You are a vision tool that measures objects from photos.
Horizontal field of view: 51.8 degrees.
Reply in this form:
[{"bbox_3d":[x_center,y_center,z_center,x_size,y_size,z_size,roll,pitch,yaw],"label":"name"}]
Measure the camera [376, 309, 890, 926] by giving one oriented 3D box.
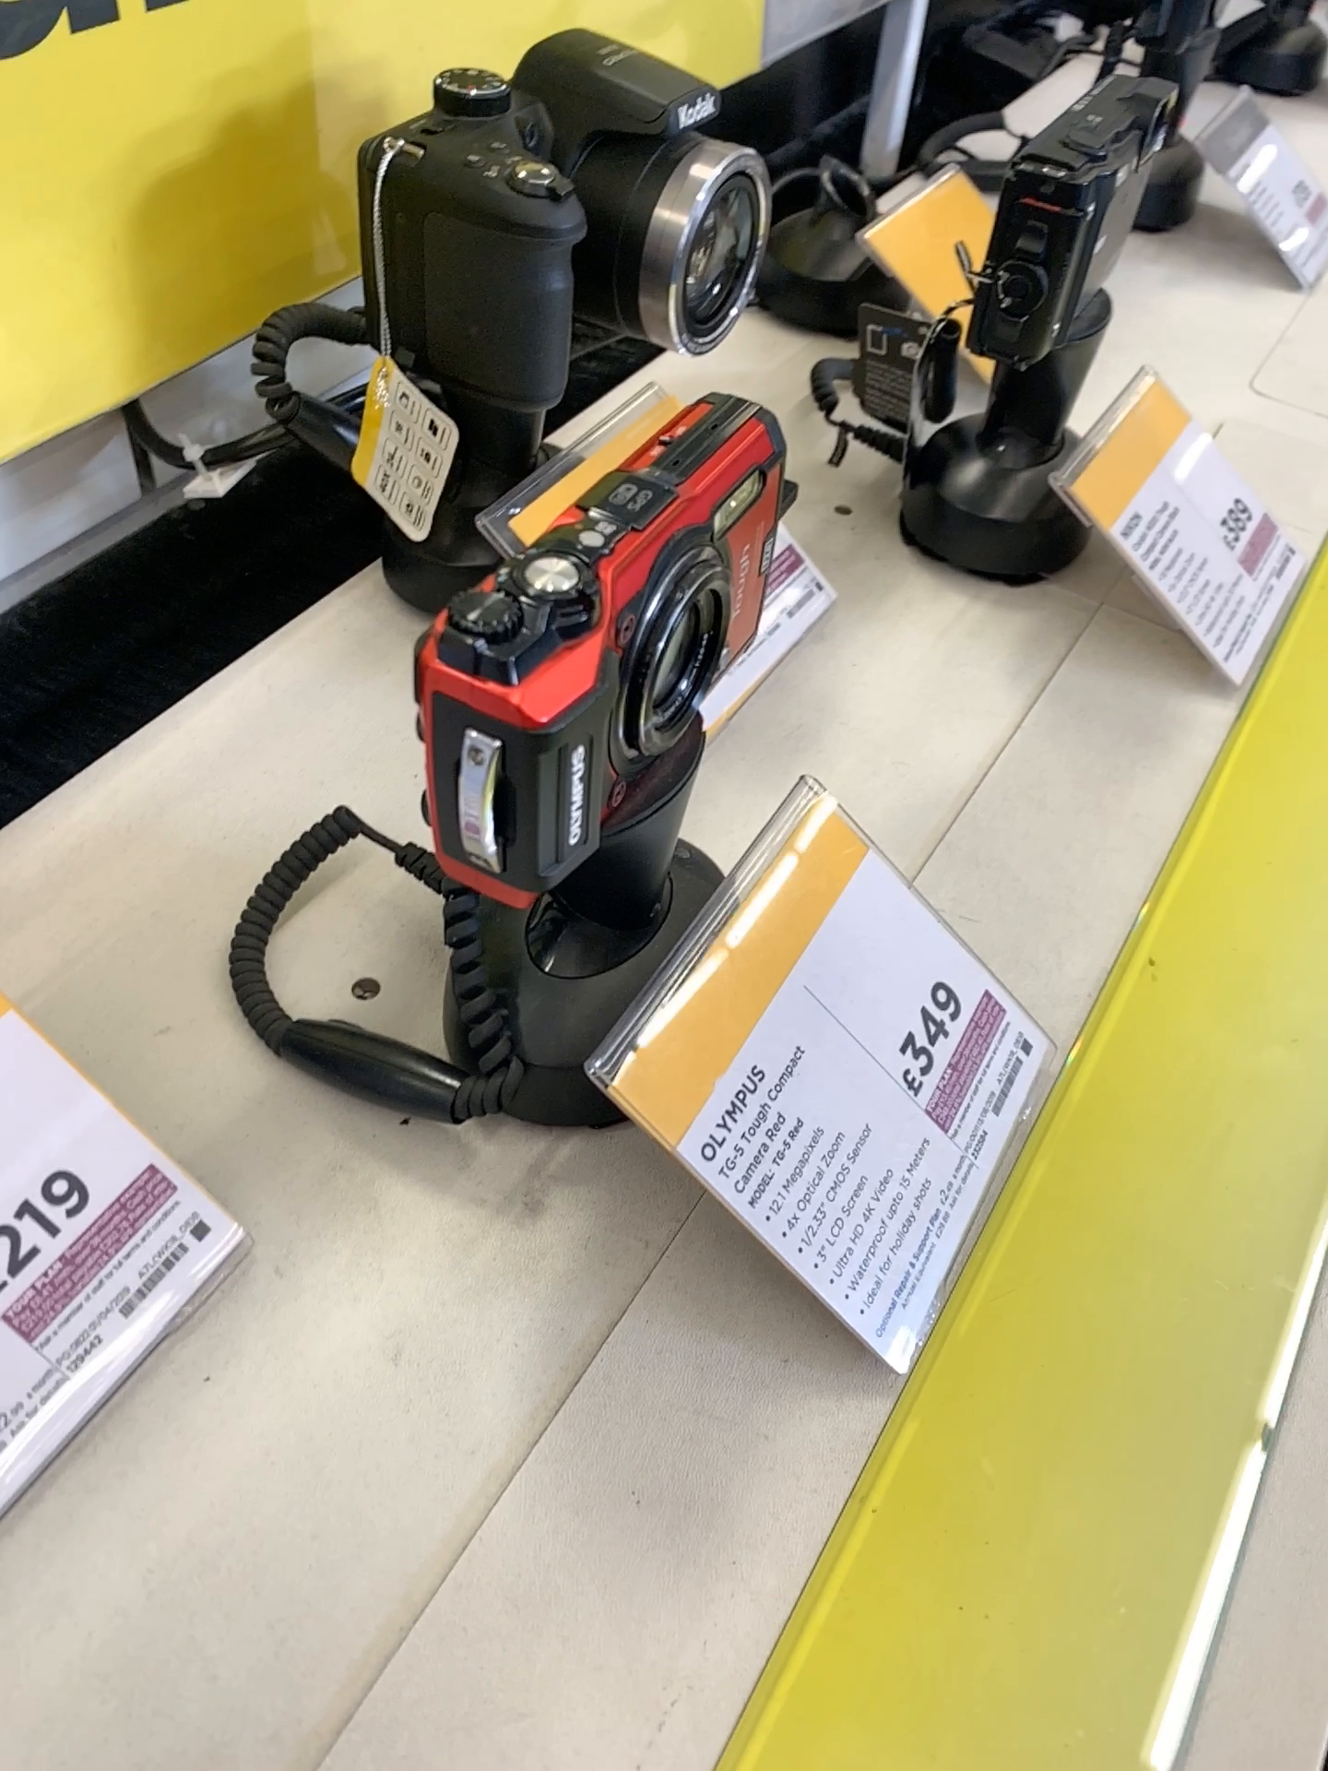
[{"bbox_3d":[-0.002,-0.058,0.272,0.040,0.059,0.121,25,50,16],"label":"camera"}]
